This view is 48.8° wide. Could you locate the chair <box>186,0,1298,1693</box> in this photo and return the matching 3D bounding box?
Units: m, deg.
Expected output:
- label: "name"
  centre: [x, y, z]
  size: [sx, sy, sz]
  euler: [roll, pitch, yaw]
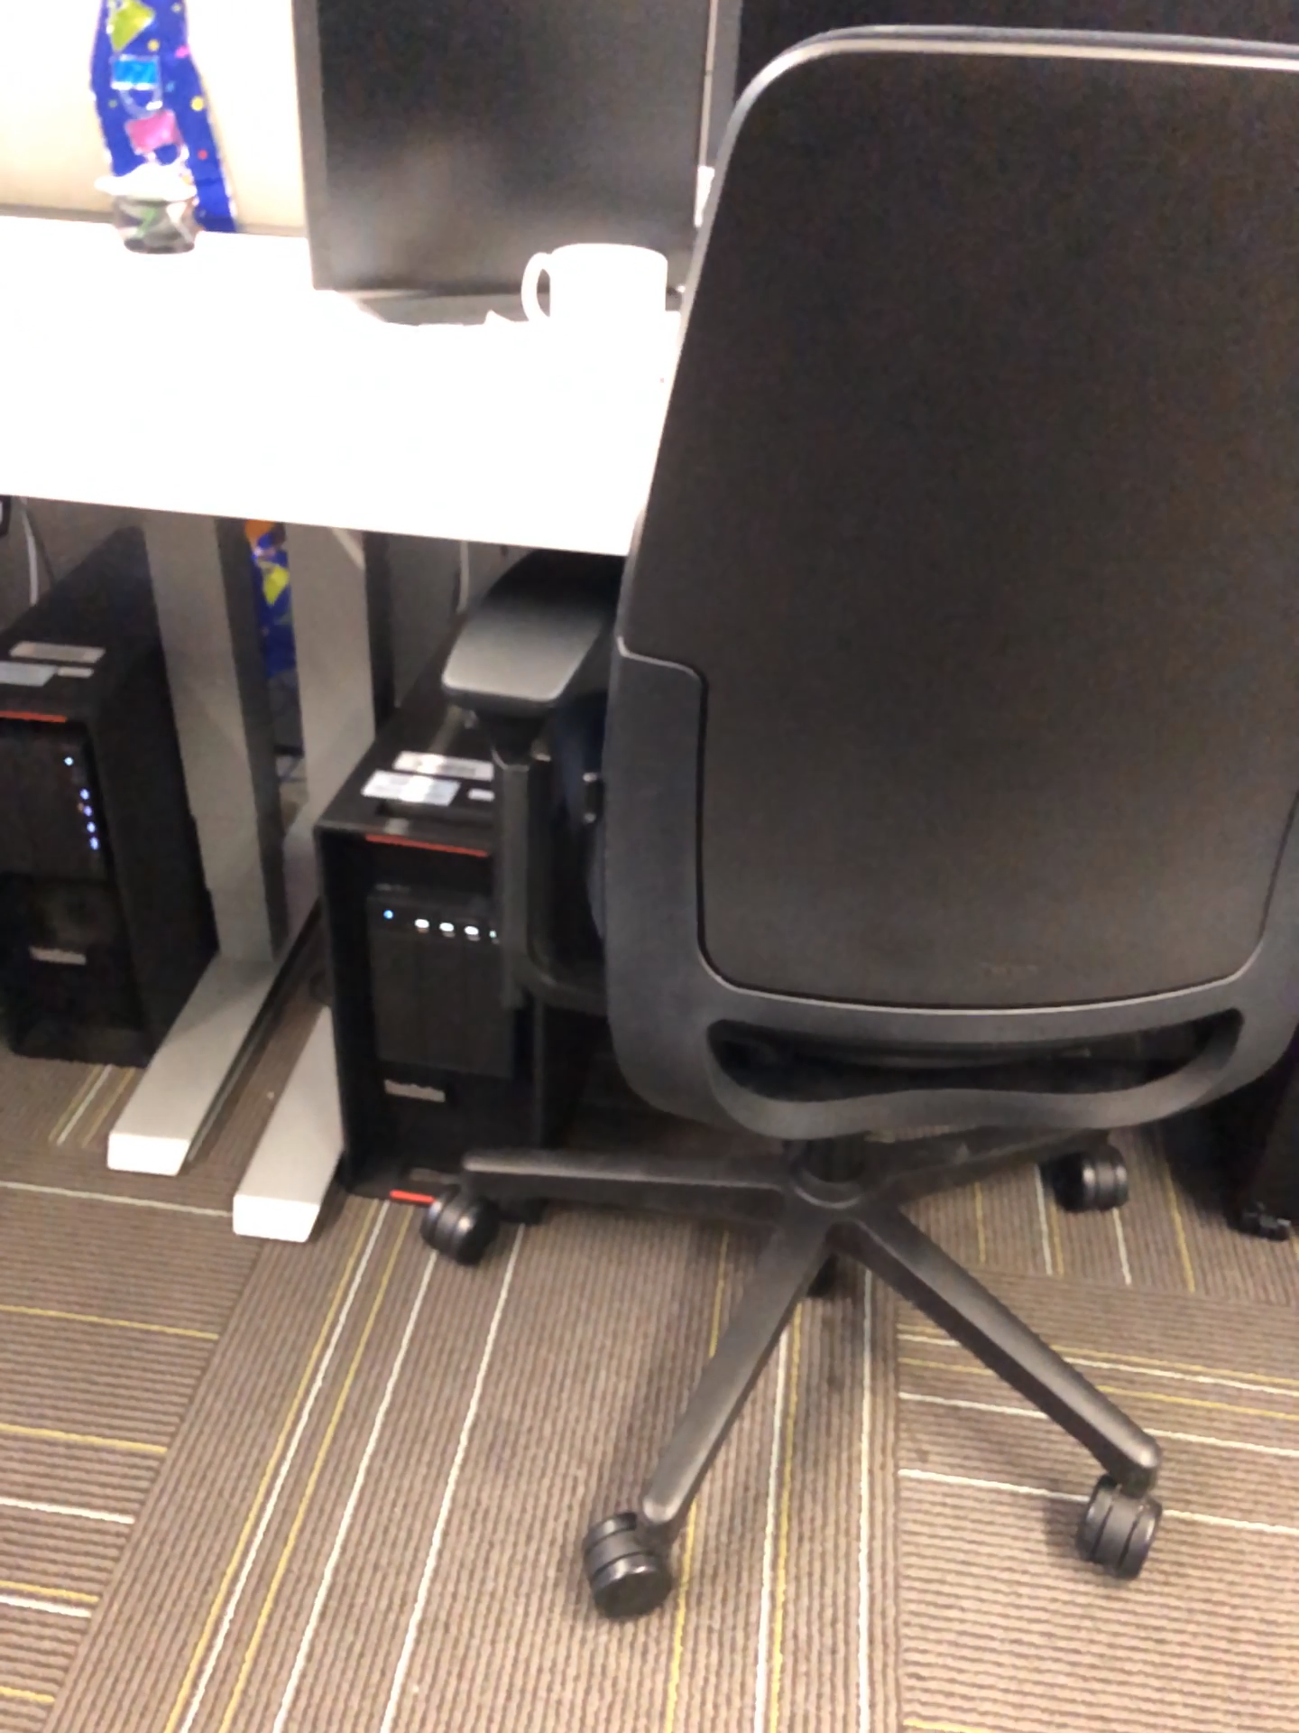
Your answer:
- label: "chair"
  centre: [0.169, -0.037, 1.063]
  size: [0.710, 1.044, 0.724]
  euler: [1, 34, -3]
